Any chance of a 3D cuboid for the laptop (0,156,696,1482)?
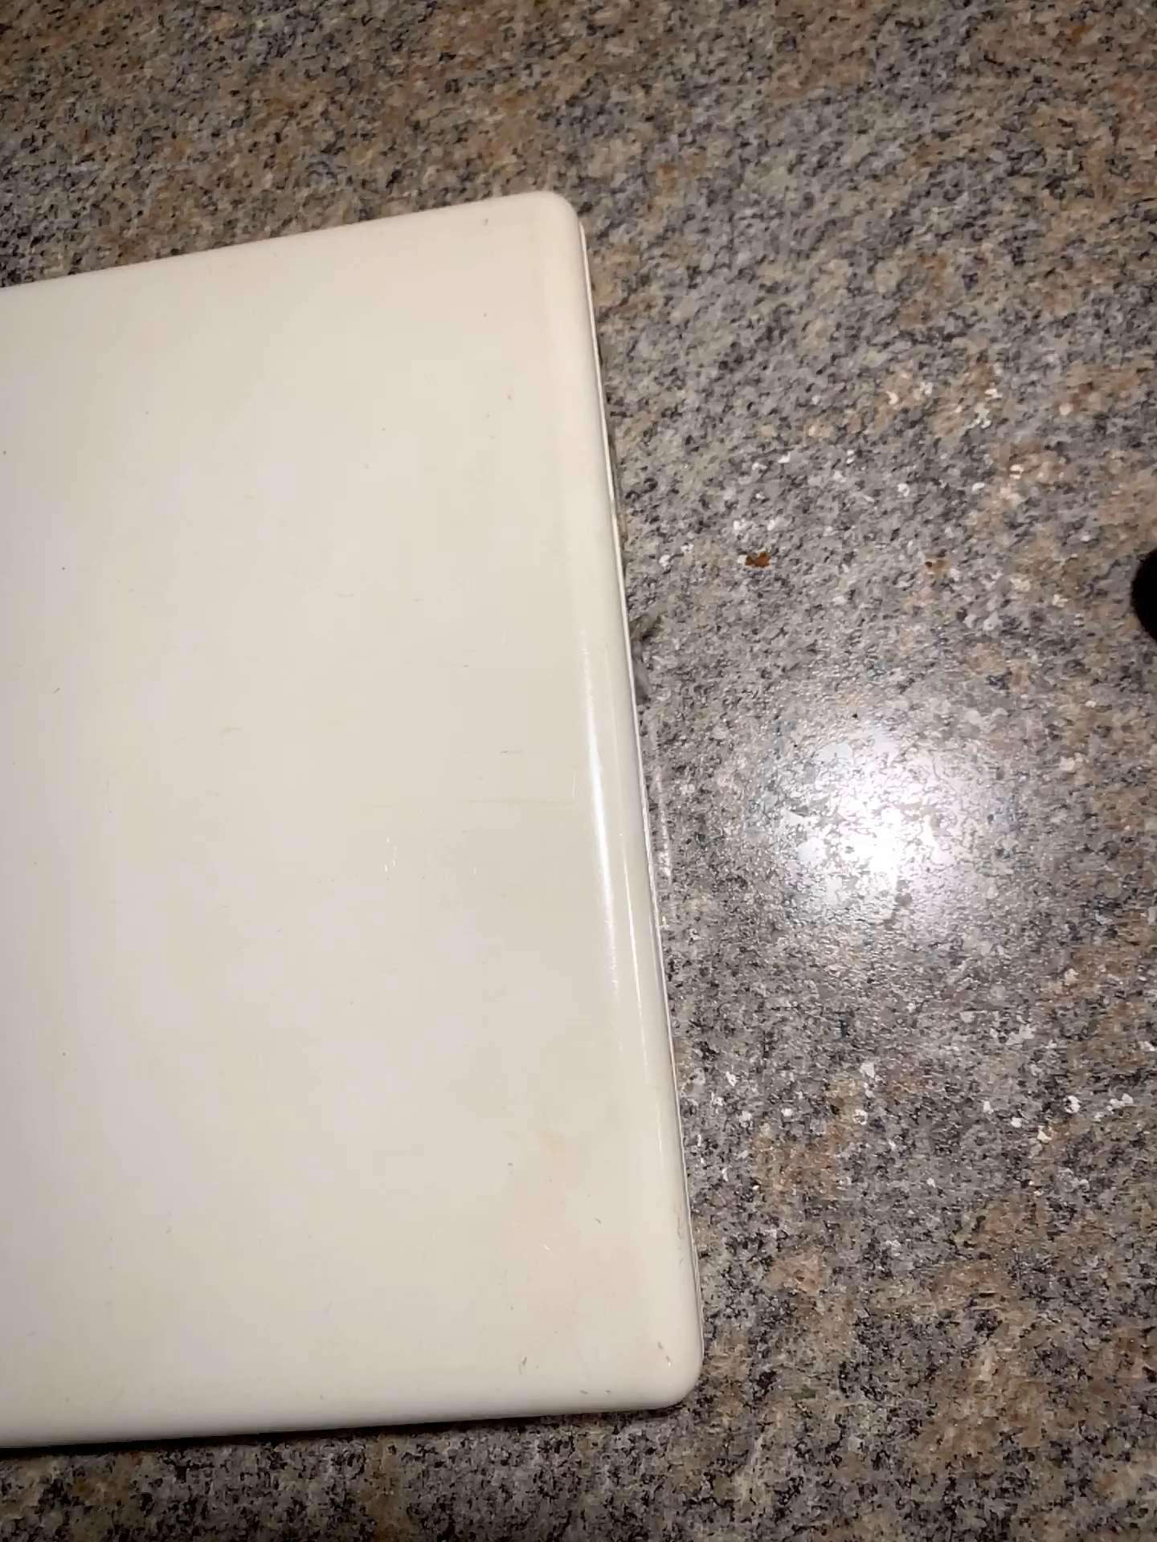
[{"bbox_3d":[-0.143,0.009,0.217,0.305,0.002,0.205,-8,74,10],"label":"laptop"}]
